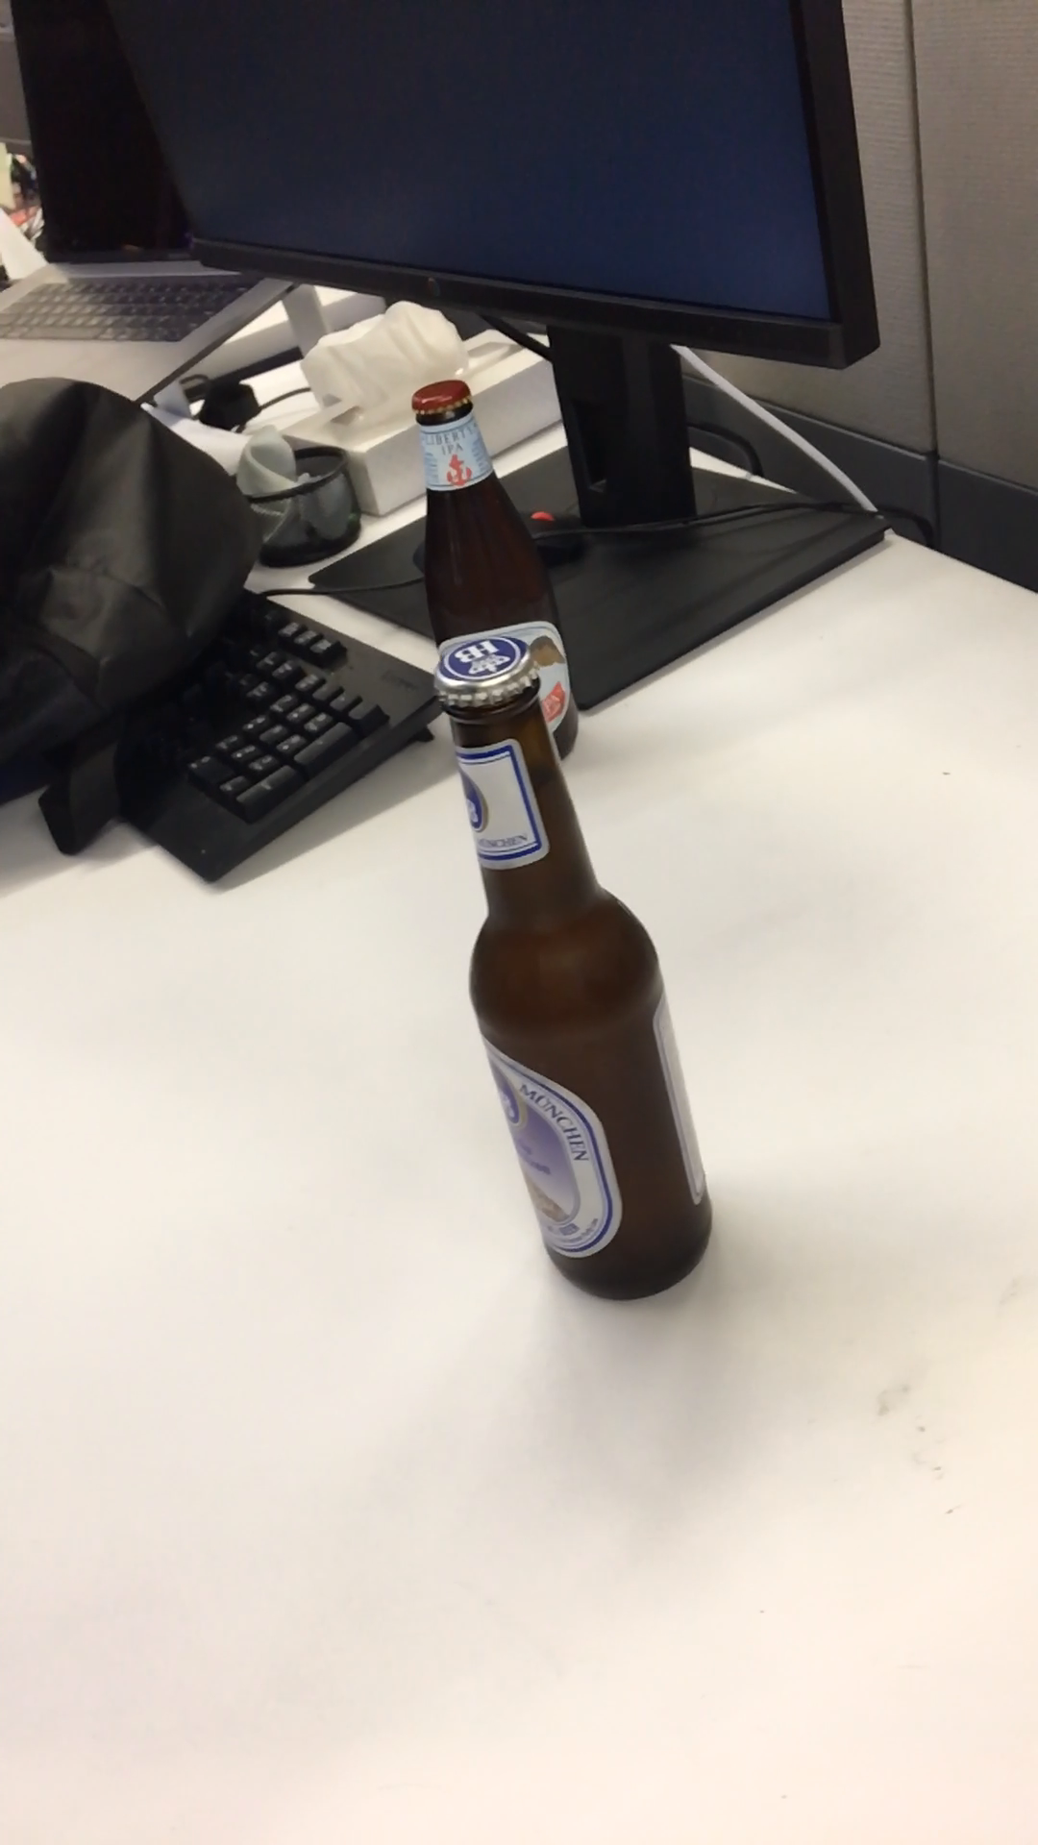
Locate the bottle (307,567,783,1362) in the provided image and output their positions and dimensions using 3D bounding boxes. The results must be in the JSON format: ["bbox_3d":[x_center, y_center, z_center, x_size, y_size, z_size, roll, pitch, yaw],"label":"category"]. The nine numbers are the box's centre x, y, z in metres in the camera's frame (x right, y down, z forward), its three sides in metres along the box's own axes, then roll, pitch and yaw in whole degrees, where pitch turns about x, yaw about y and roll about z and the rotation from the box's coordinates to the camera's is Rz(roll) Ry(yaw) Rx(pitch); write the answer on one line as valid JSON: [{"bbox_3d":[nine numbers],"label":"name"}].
[{"bbox_3d":[0.014,0.020,0.483,0.080,0.230,0.080,-10,36,8],"label":"bottle"}]
